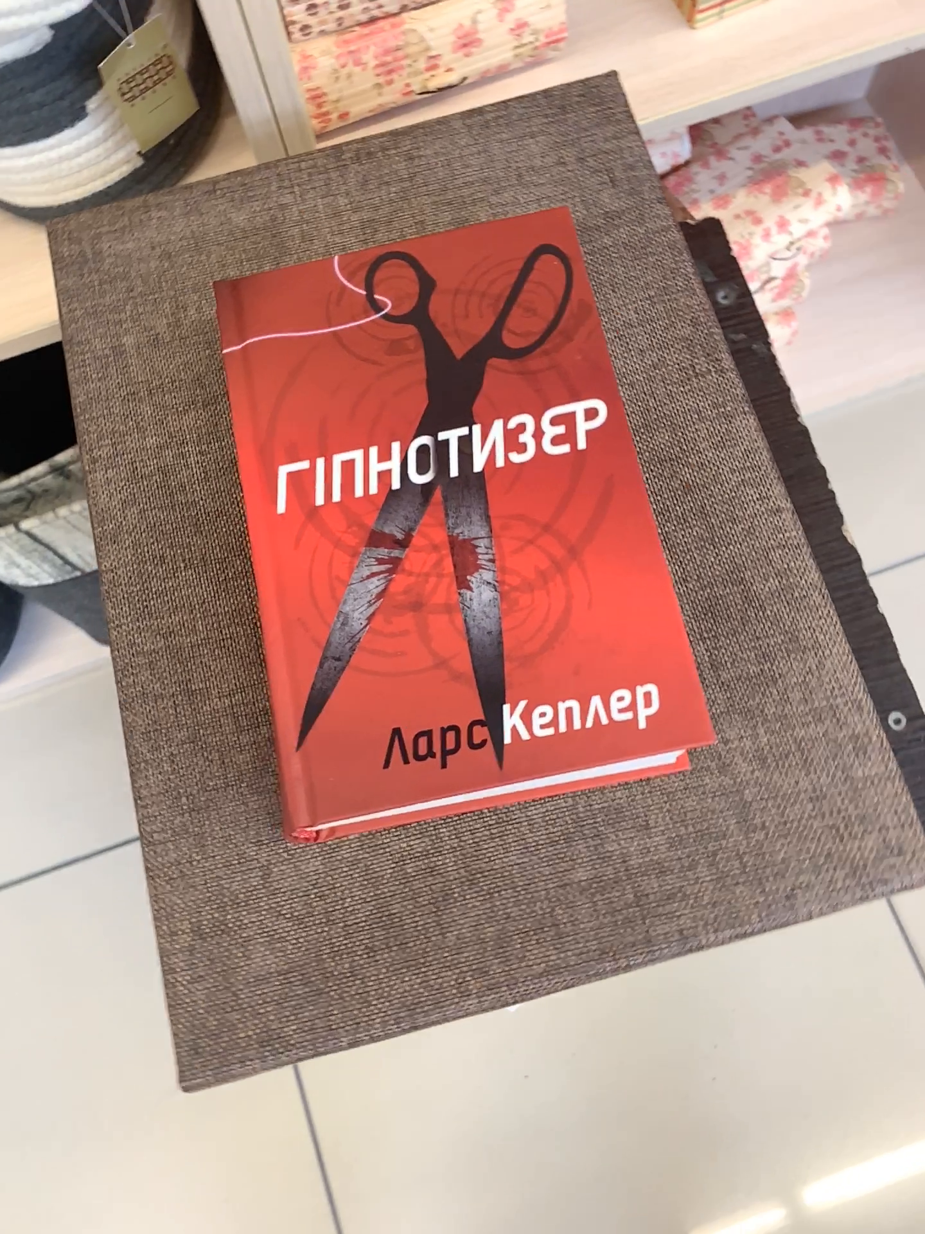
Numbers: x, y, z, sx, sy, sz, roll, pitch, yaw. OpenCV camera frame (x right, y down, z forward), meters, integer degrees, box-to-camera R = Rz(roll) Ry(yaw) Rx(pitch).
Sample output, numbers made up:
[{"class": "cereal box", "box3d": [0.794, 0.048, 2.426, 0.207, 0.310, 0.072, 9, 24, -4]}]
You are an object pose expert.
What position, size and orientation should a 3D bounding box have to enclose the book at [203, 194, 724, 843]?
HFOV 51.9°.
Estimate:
[{"class": "book", "box3d": [-0.006, -0.035, 0.326, 0.132, 0.050, 0.195, -12, 73, 1]}]
